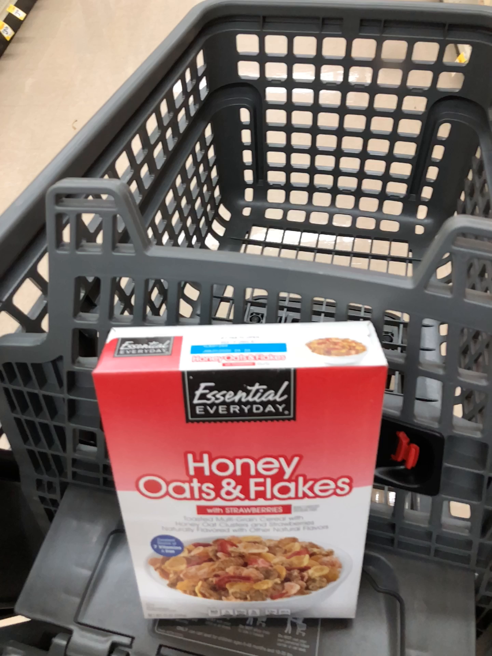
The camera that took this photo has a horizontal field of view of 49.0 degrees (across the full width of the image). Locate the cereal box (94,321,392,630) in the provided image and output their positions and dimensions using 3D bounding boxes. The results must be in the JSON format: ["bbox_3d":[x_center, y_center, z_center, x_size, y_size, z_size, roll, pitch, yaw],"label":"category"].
[{"bbox_3d":[0.002,0.125,0.416,0.180,0.260,0.060,-1,30,1],"label":"cereal box"}]
